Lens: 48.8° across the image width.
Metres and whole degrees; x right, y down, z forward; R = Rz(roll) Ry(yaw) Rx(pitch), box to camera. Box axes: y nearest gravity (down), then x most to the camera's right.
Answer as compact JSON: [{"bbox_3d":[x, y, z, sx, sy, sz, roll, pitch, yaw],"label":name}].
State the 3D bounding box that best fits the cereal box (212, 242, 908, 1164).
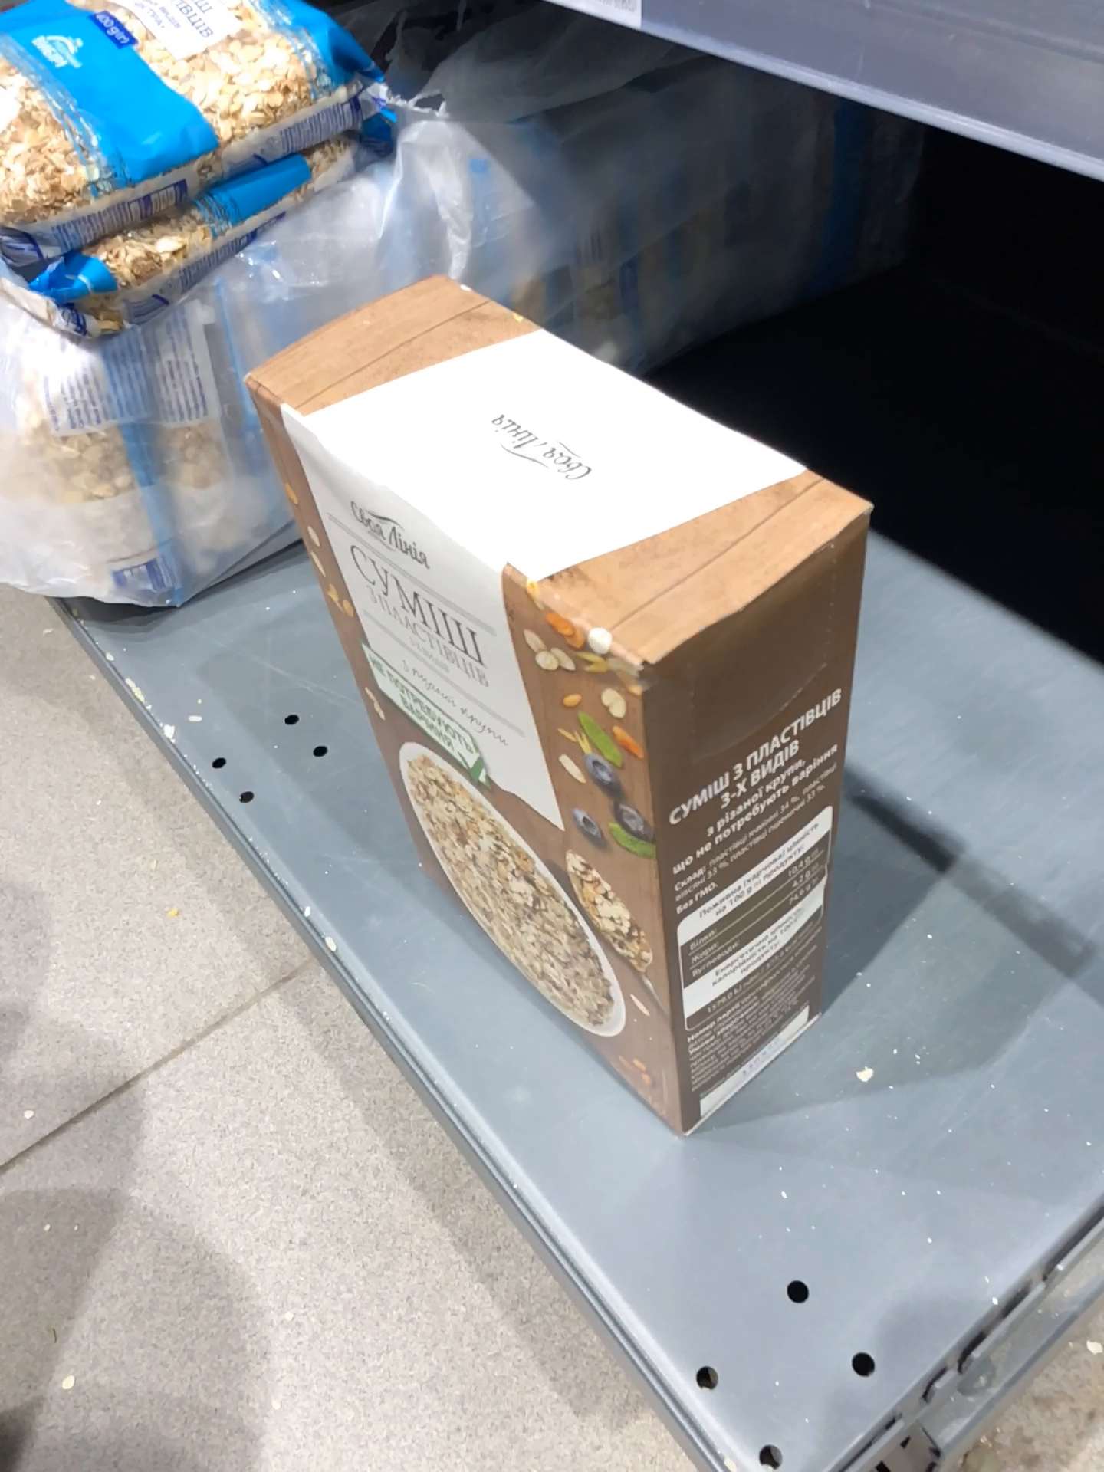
[{"bbox_3d":[0.004,-0.001,0.337,0.060,0.208,0.161,-35,53,-21],"label":"cereal box"}]
